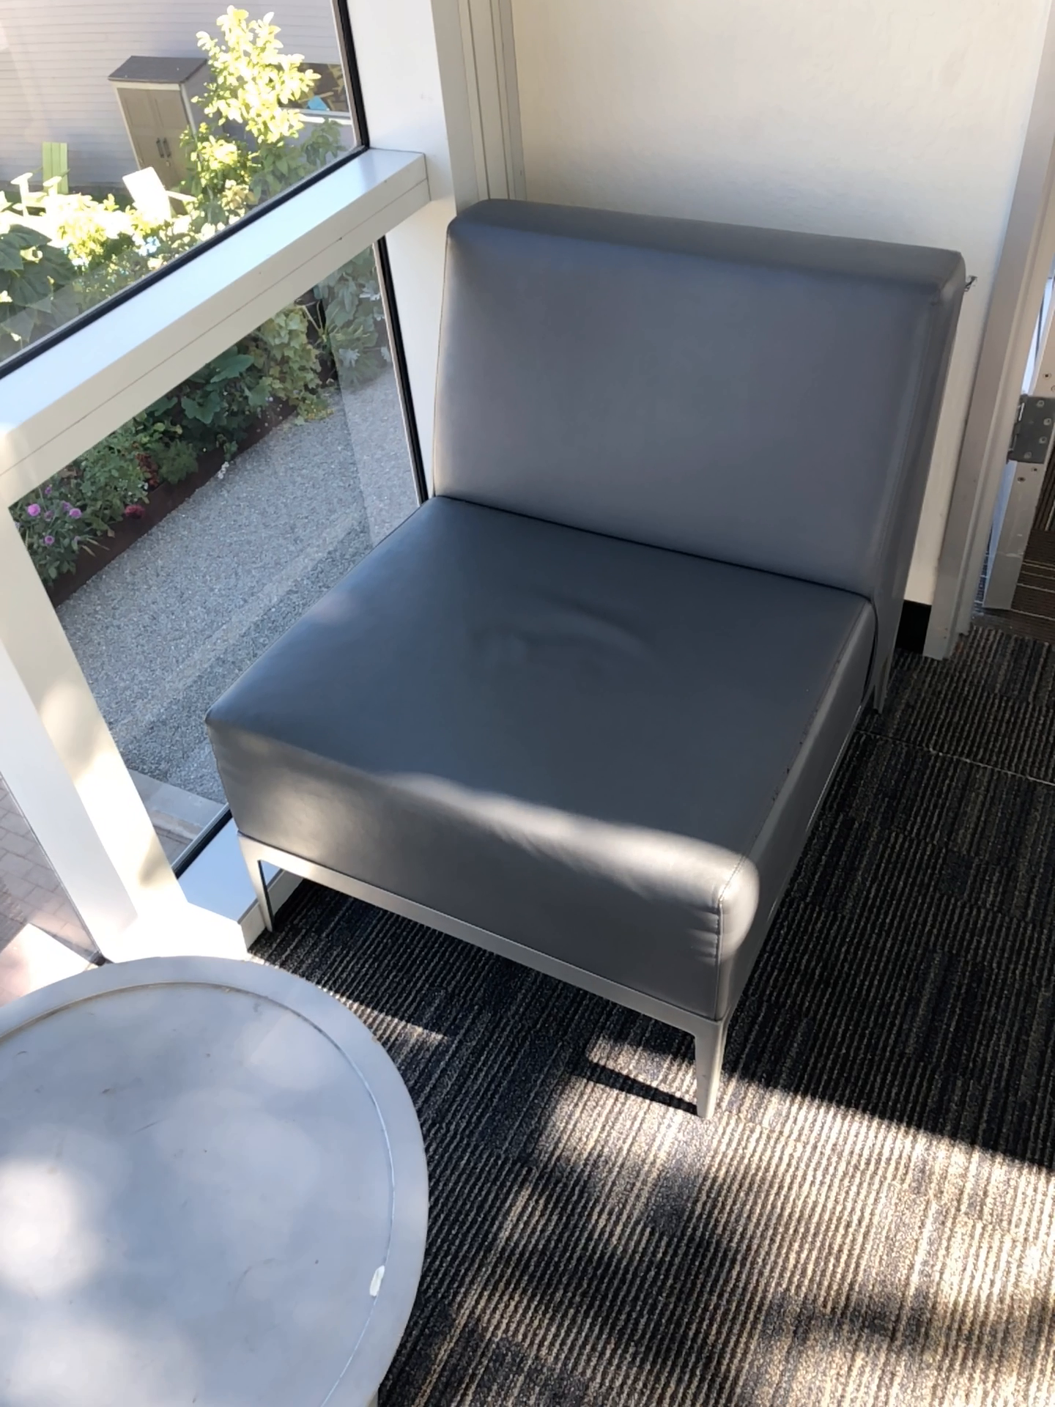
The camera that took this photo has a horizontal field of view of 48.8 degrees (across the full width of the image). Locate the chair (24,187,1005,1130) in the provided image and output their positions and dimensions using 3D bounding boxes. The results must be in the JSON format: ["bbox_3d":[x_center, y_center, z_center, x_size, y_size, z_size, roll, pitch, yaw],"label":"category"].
[{"bbox_3d":[0.048,-0.118,1.461,0.772,0.707,0.752,17,47,24],"label":"chair"}]
